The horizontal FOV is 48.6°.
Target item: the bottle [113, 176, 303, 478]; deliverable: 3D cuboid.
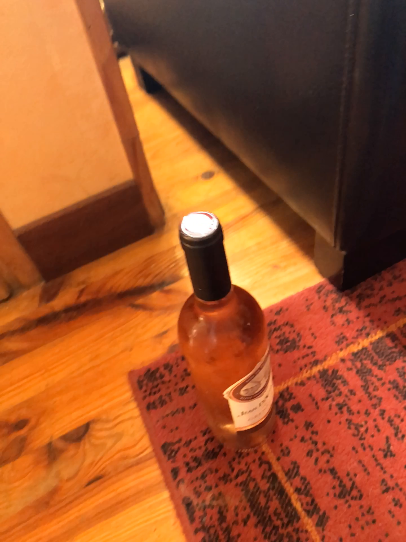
[{"bbox_3d":[0.027,0.076,0.396,0.080,0.308,0.090,28,61,29],"label":"bottle"}]
